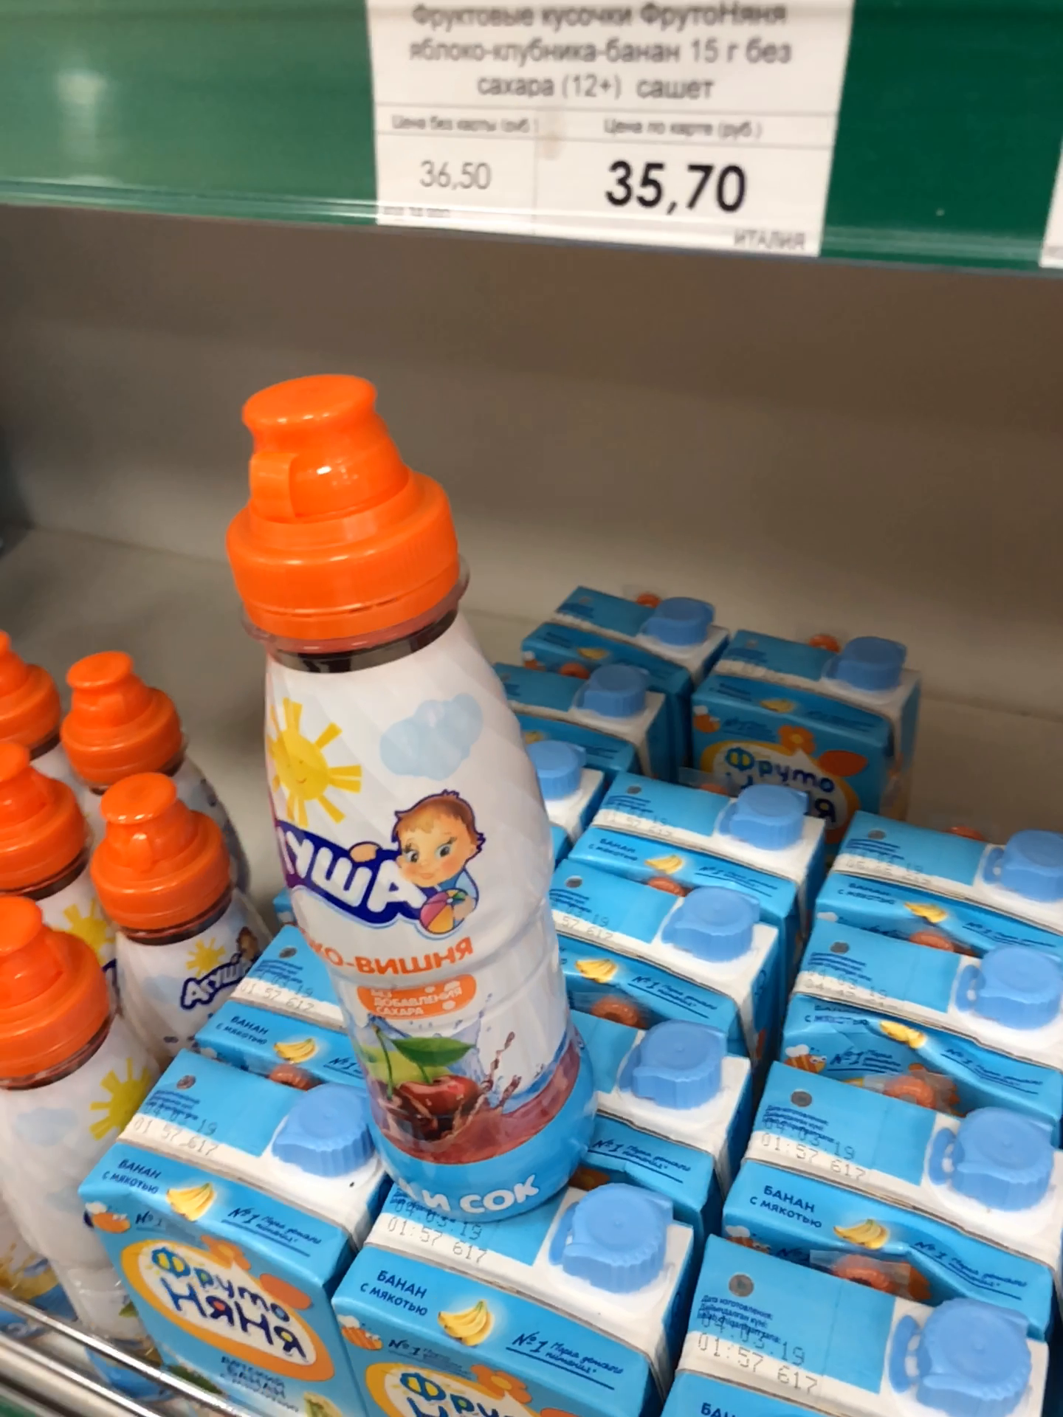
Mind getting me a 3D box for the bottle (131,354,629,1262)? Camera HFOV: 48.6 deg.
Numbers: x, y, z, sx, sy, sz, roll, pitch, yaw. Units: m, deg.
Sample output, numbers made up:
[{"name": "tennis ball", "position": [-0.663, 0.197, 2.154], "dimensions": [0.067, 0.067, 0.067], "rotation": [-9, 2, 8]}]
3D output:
[{"name": "bottle", "position": [-0.019, 0.028, 0.251], "dimensions": [0.054, 0.190, 0.056], "rotation": [-5, 31, 3]}]
